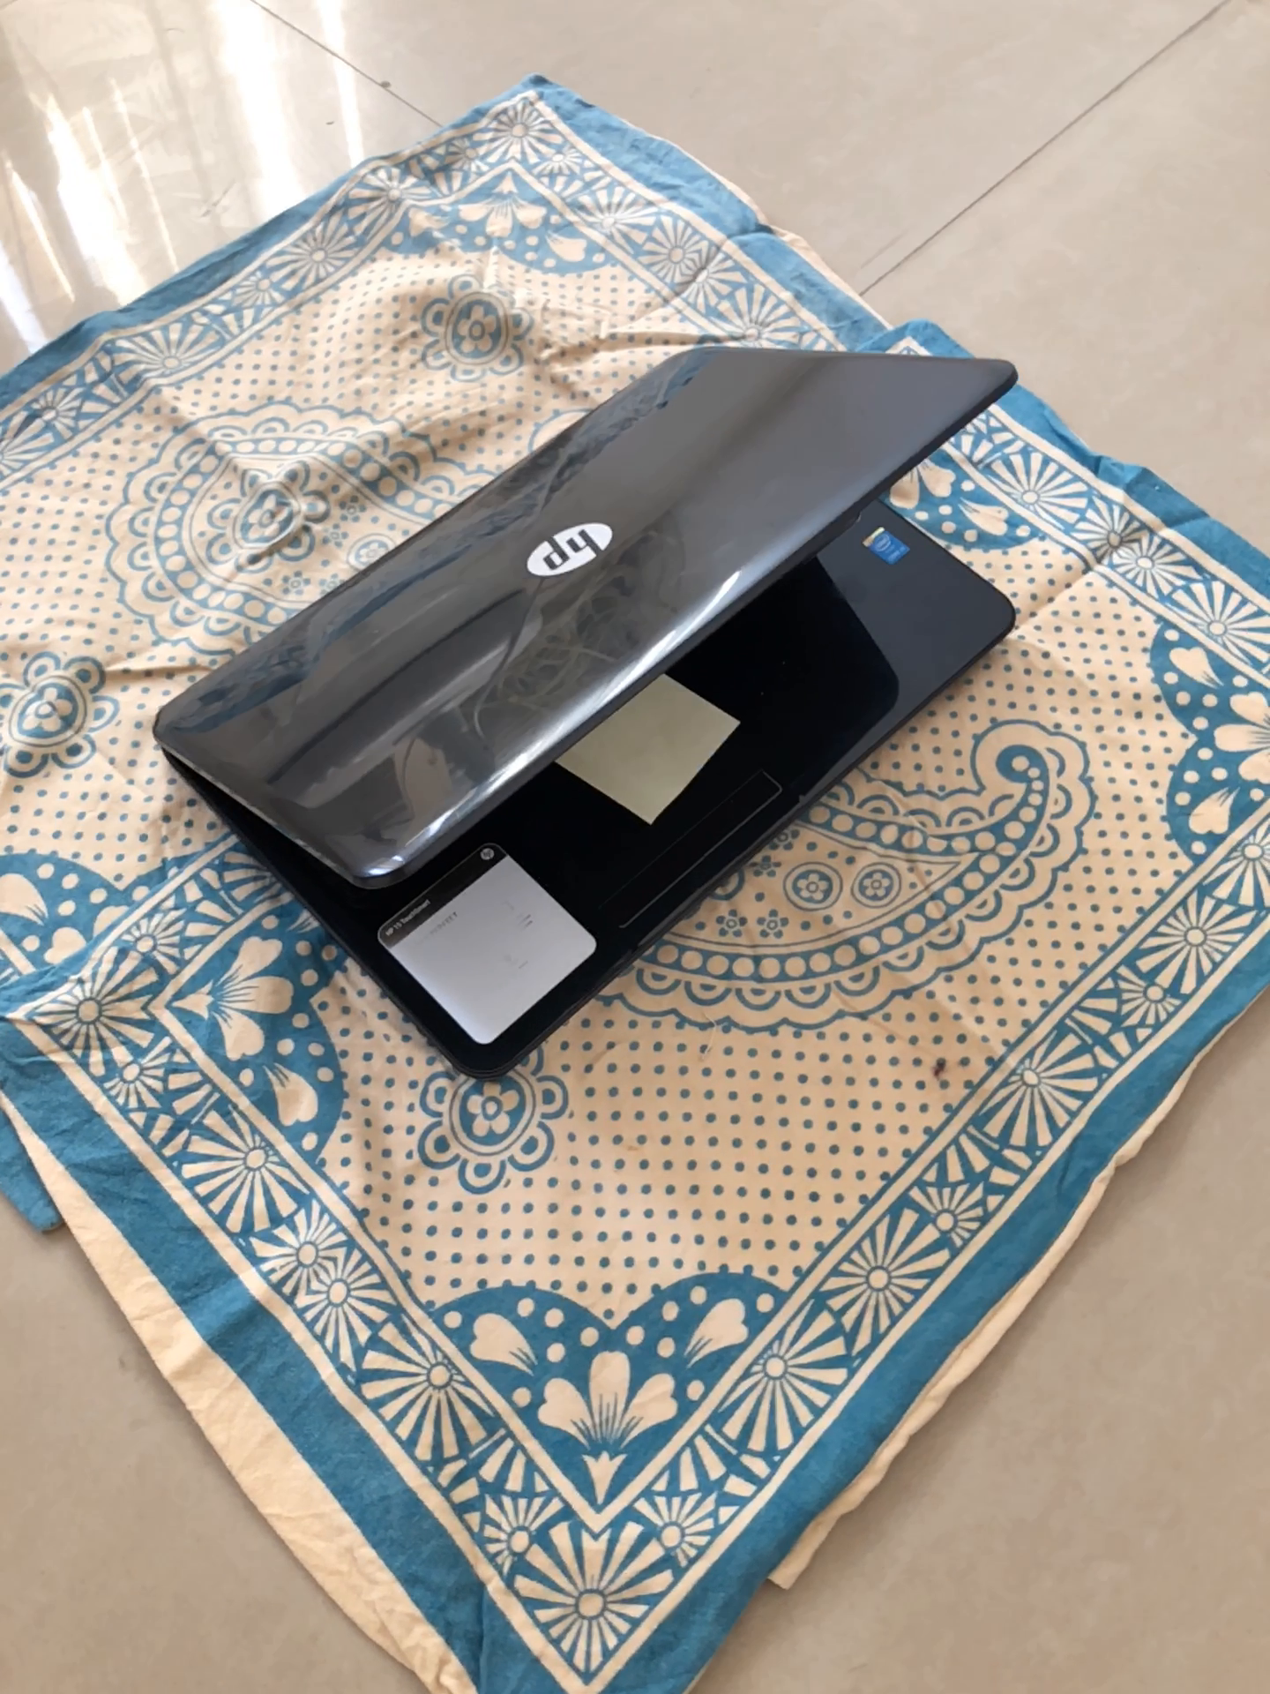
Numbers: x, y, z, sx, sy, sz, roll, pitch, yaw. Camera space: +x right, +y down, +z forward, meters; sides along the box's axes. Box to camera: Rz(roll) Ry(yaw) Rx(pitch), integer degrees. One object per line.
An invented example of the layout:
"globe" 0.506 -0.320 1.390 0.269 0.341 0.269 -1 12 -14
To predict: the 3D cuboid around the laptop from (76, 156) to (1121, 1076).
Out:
"laptop" -0.015 -0.117 0.646 0.364 0.151 0.236 -39 67 -17
